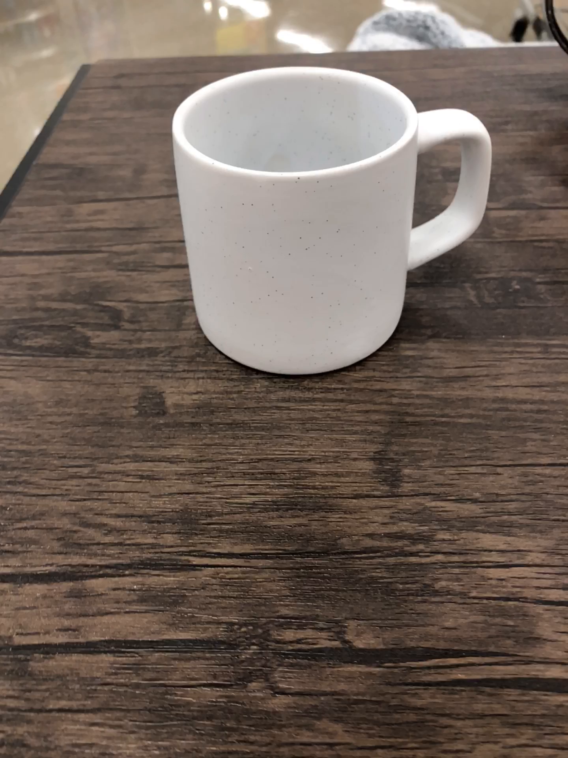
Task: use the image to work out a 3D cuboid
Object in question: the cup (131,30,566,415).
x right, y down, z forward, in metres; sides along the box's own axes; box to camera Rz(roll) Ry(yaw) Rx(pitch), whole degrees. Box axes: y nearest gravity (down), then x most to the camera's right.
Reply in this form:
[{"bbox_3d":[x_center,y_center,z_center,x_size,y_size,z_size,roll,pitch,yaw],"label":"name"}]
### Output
[{"bbox_3d":[0.018,-0.065,0.261,0.130,0.100,0.090,-13,47,-9],"label":"cup"}]
